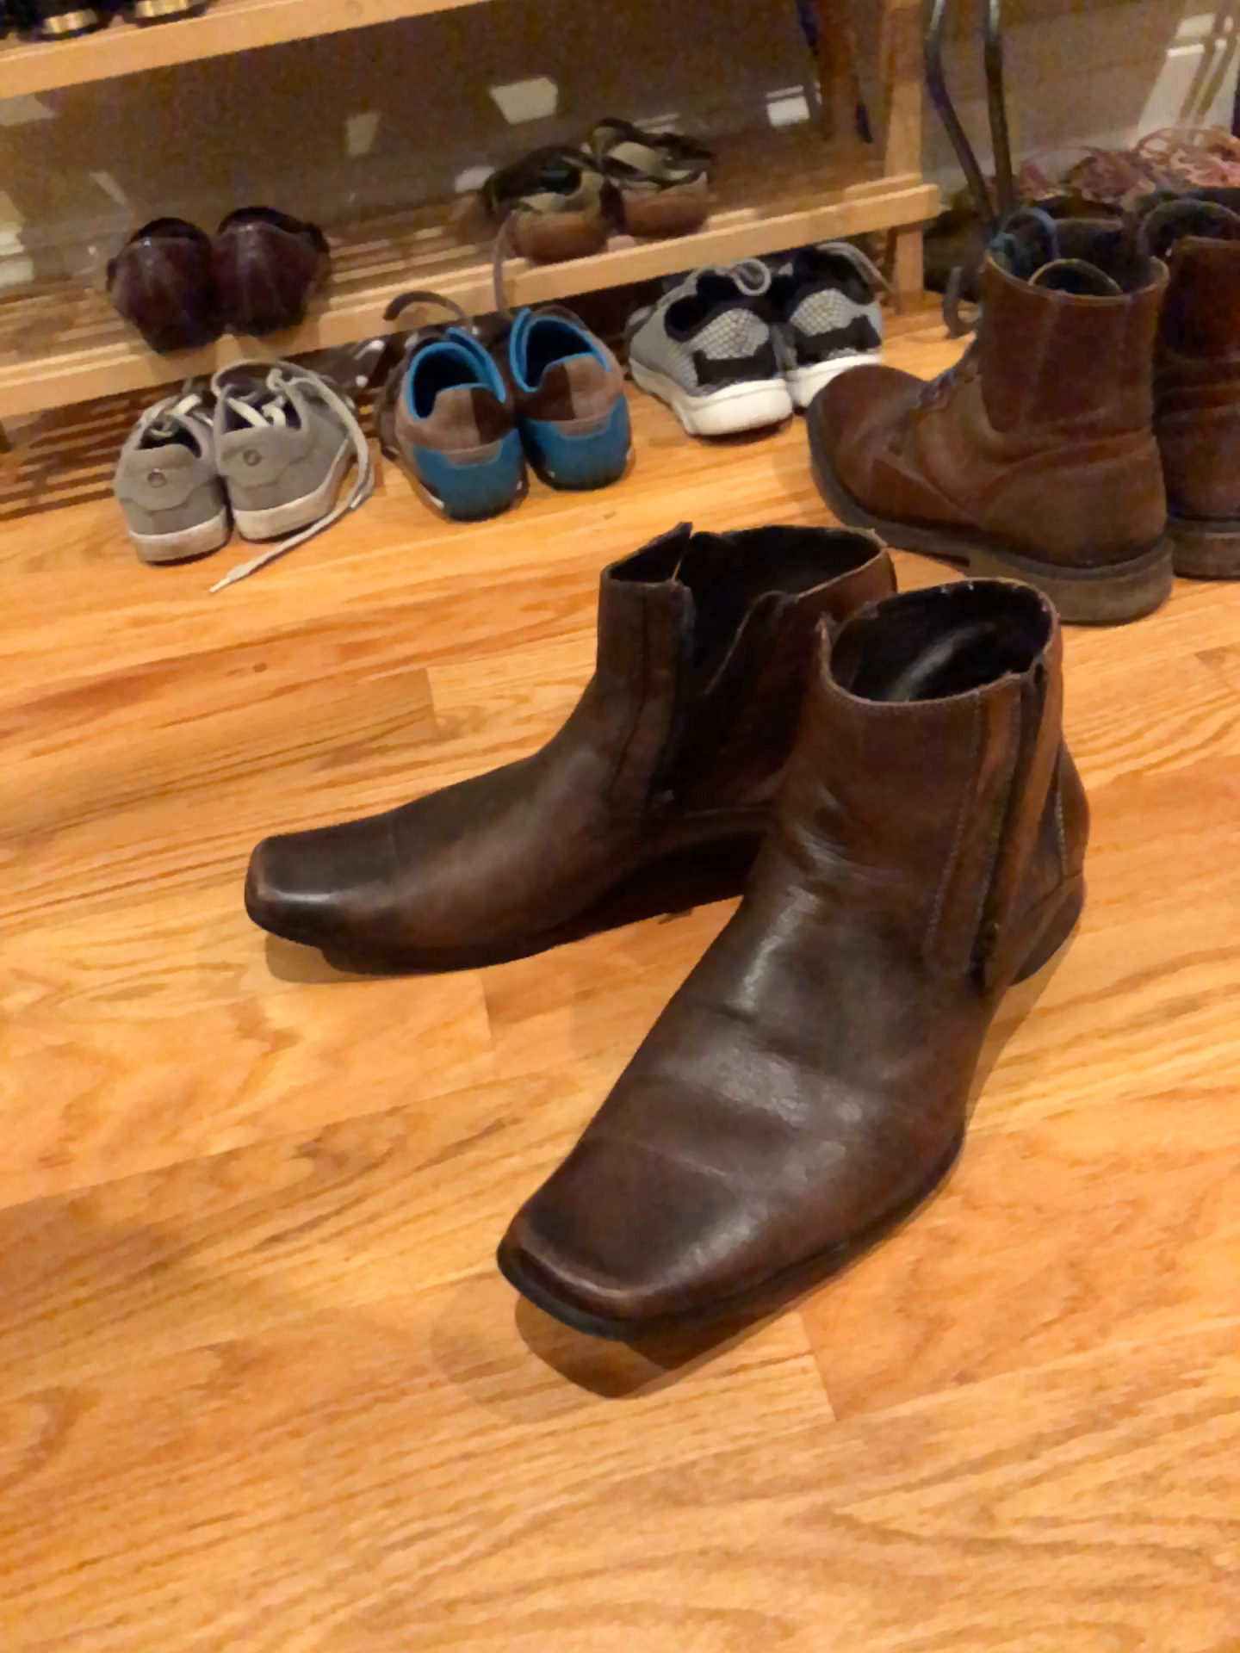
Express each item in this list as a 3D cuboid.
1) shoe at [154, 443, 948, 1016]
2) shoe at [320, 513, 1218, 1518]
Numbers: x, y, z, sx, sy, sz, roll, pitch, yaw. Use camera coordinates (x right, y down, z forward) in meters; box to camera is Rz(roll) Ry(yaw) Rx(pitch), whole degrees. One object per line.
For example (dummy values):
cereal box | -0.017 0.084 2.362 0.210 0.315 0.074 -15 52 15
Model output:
shoe | -0.022 -0.043 0.574 0.290 0.142 0.110 -13 37 -3
shoe | 0.071 0.038 0.454 0.109 0.152 0.301 23 49 37
